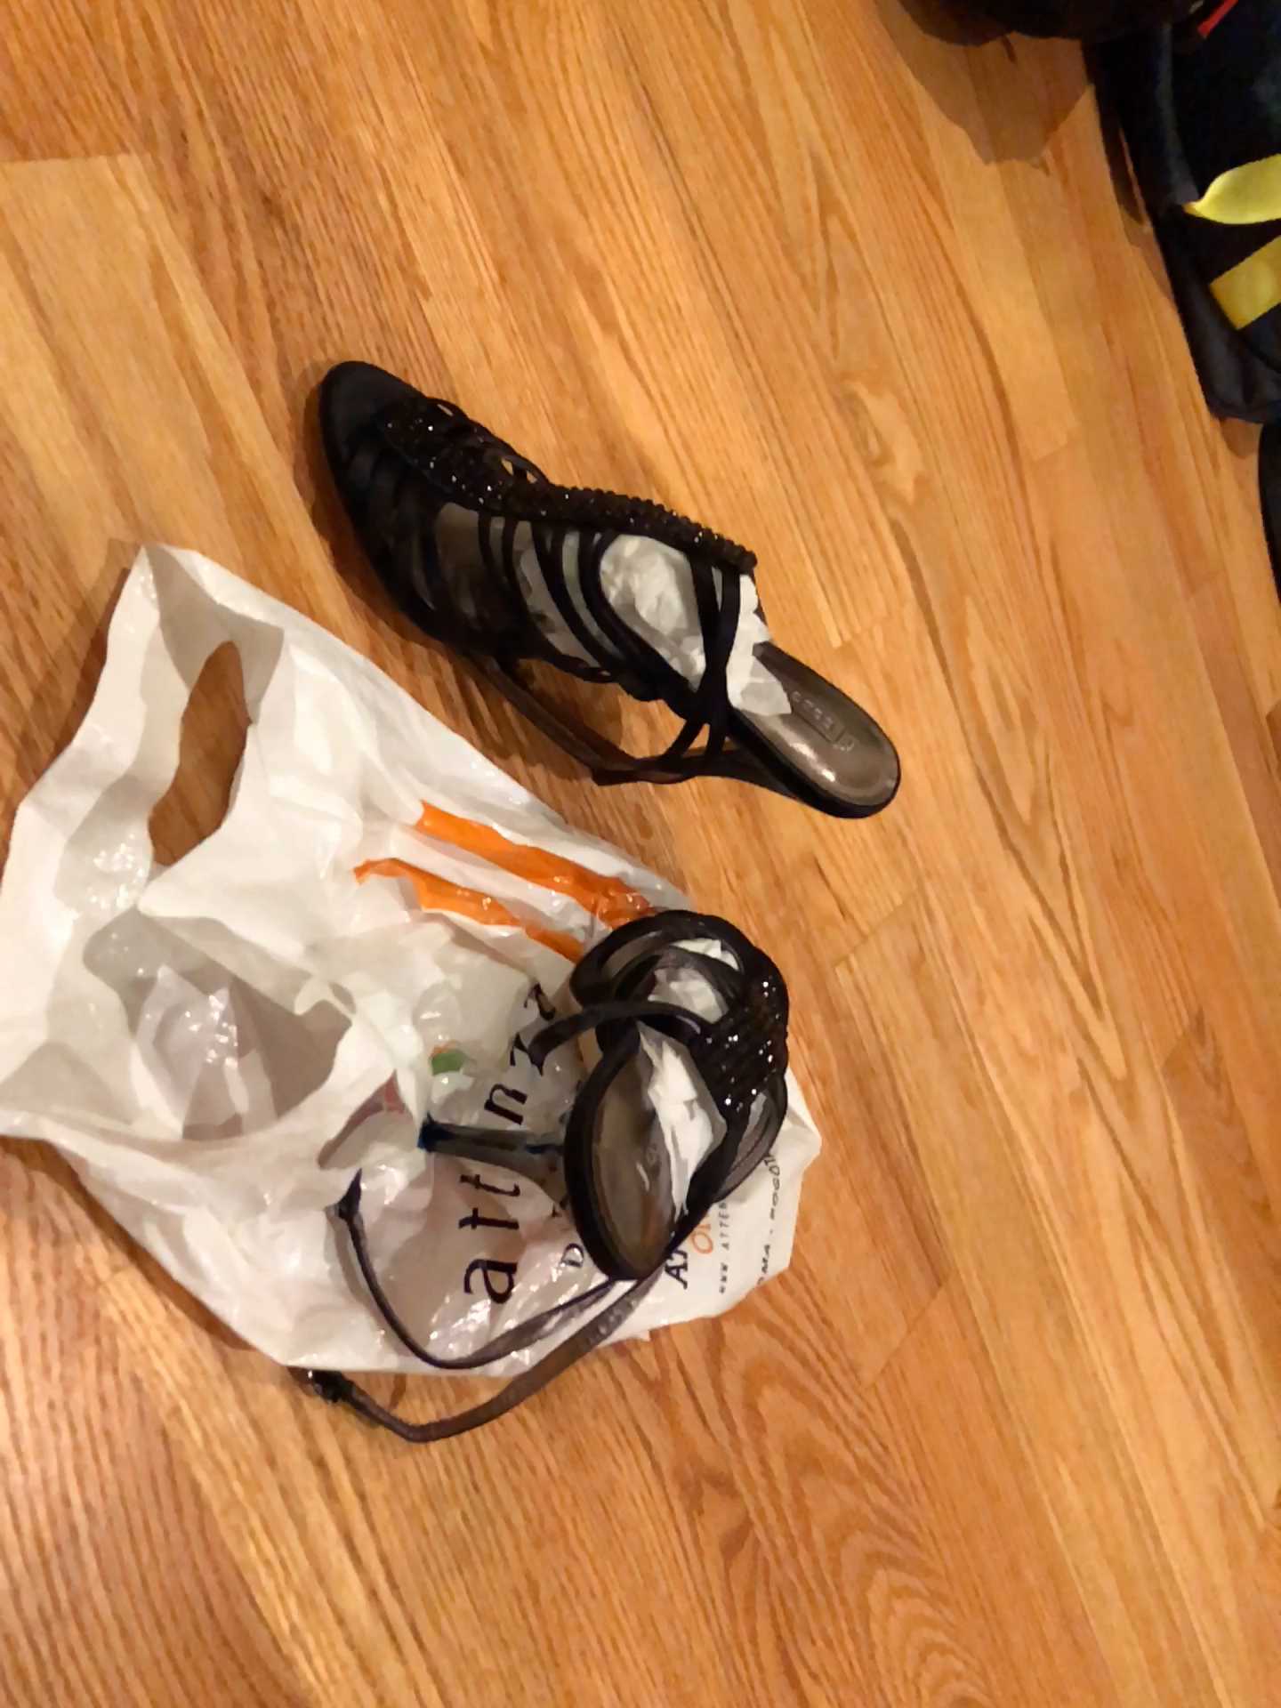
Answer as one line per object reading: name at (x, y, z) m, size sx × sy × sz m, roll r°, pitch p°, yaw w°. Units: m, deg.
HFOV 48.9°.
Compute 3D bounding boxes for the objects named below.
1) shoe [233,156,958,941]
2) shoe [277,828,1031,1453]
shoe at (-0.006, -0.086, 0.466) m, size 0.217 × 0.112 × 0.091 m, roll 54°, pitch 48°, yaw -25°
shoe at (0.017, 0.077, 0.455) m, size 0.218 × 0.112 × 0.092 m, roll -28°, pitch 102°, yaw -46°
